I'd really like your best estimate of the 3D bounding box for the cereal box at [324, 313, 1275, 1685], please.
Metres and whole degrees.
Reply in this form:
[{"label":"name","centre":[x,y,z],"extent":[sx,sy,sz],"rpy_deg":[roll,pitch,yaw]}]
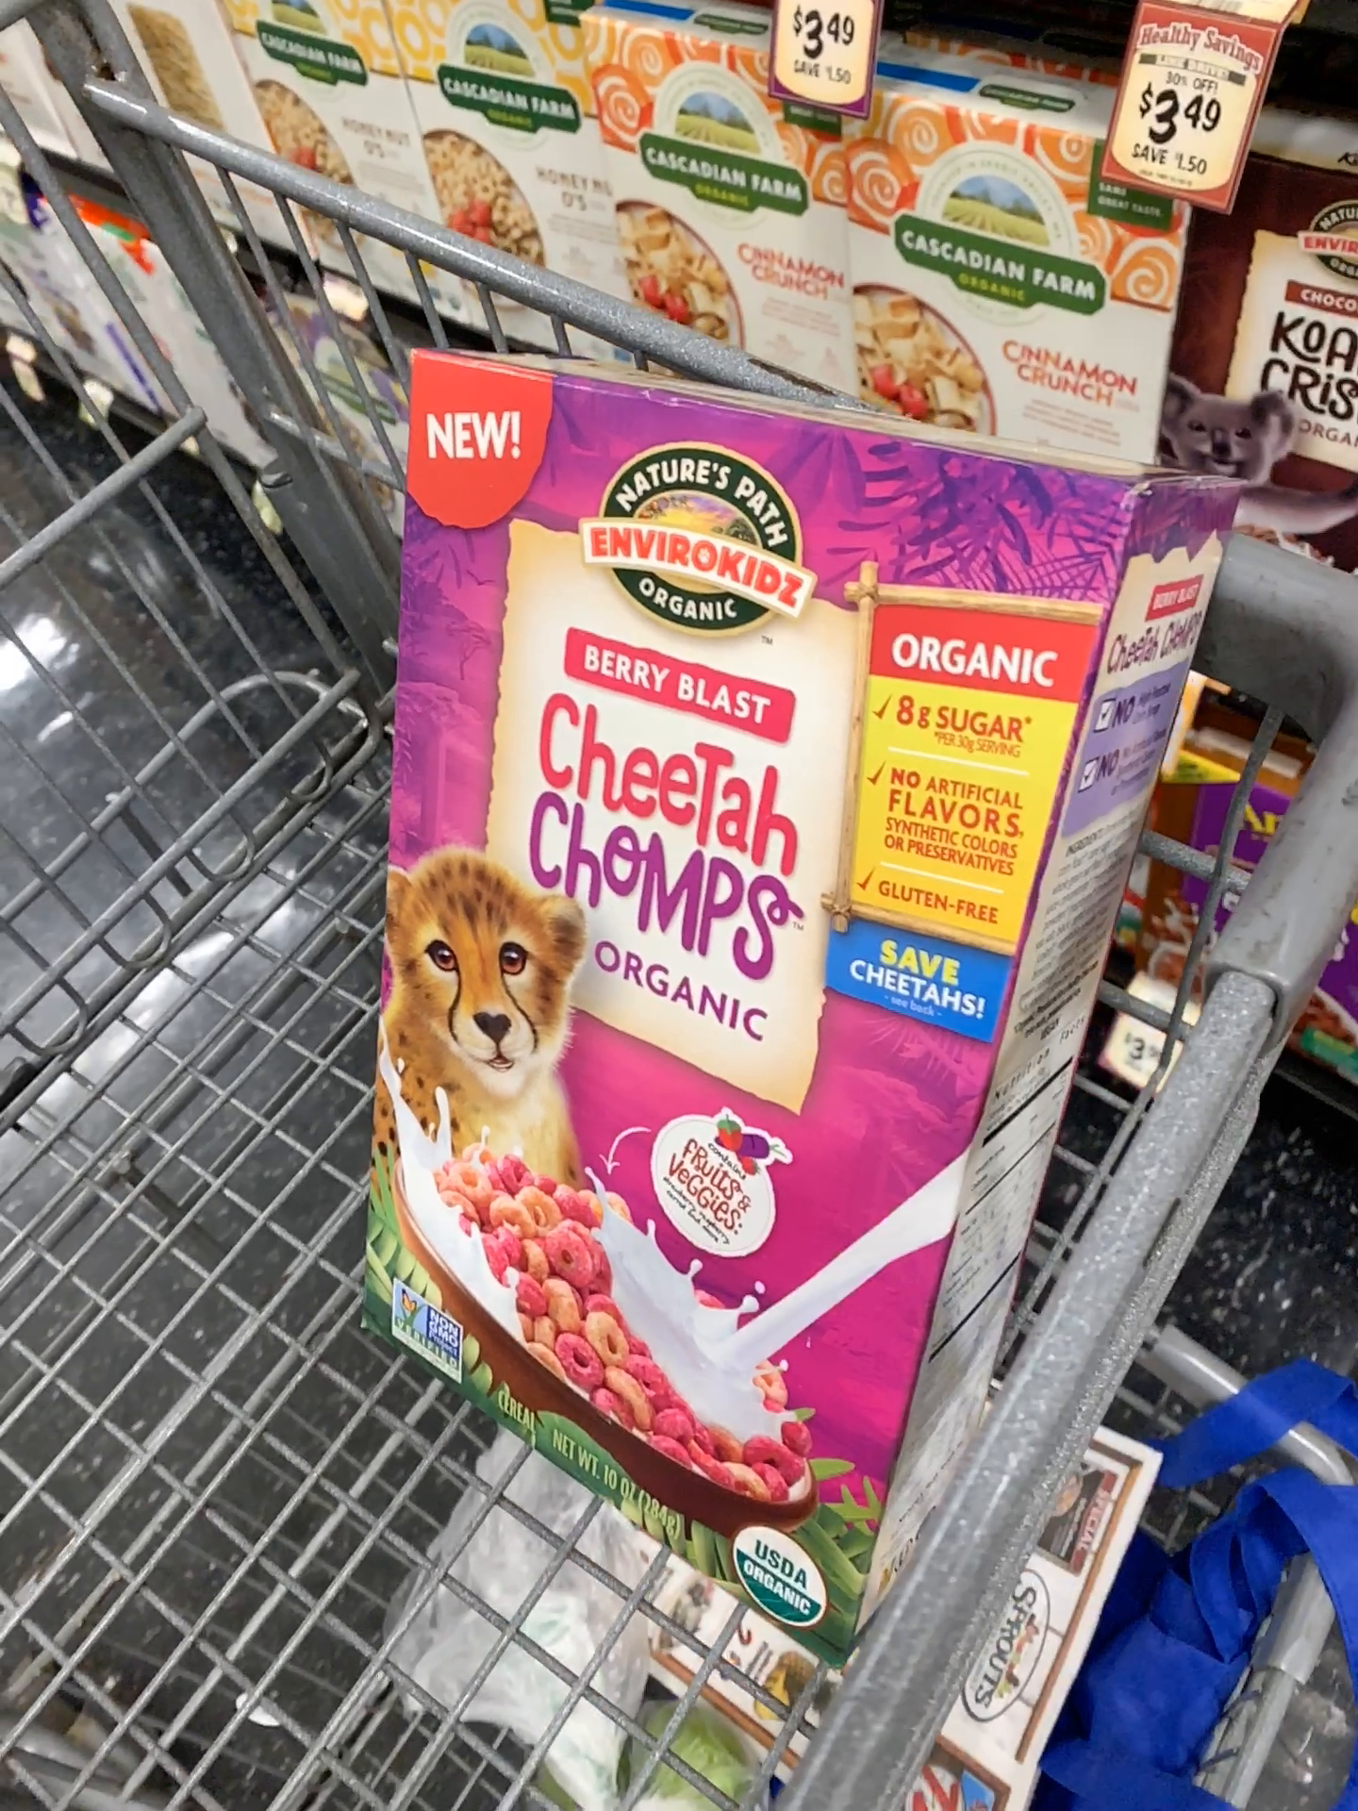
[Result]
[{"label":"cereal box","centre":[0.005,0.016,0.311],"extent":[0.160,0.249,0.060],"rpy_deg":[23,26,30]}]
